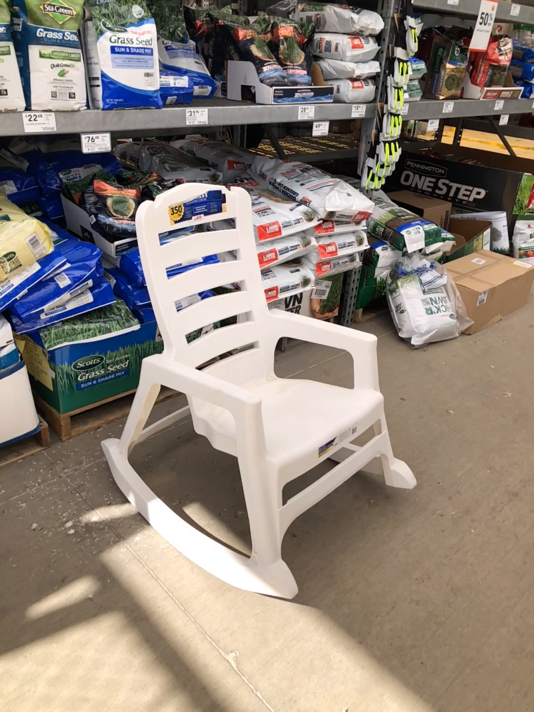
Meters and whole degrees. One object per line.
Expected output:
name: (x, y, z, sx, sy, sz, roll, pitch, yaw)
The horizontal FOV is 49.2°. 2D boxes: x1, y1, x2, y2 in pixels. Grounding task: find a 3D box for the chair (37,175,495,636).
chair: (-0.037, 0.006, 1.893, 1.033, 0.927, 0.847, 24, 32, 35)
